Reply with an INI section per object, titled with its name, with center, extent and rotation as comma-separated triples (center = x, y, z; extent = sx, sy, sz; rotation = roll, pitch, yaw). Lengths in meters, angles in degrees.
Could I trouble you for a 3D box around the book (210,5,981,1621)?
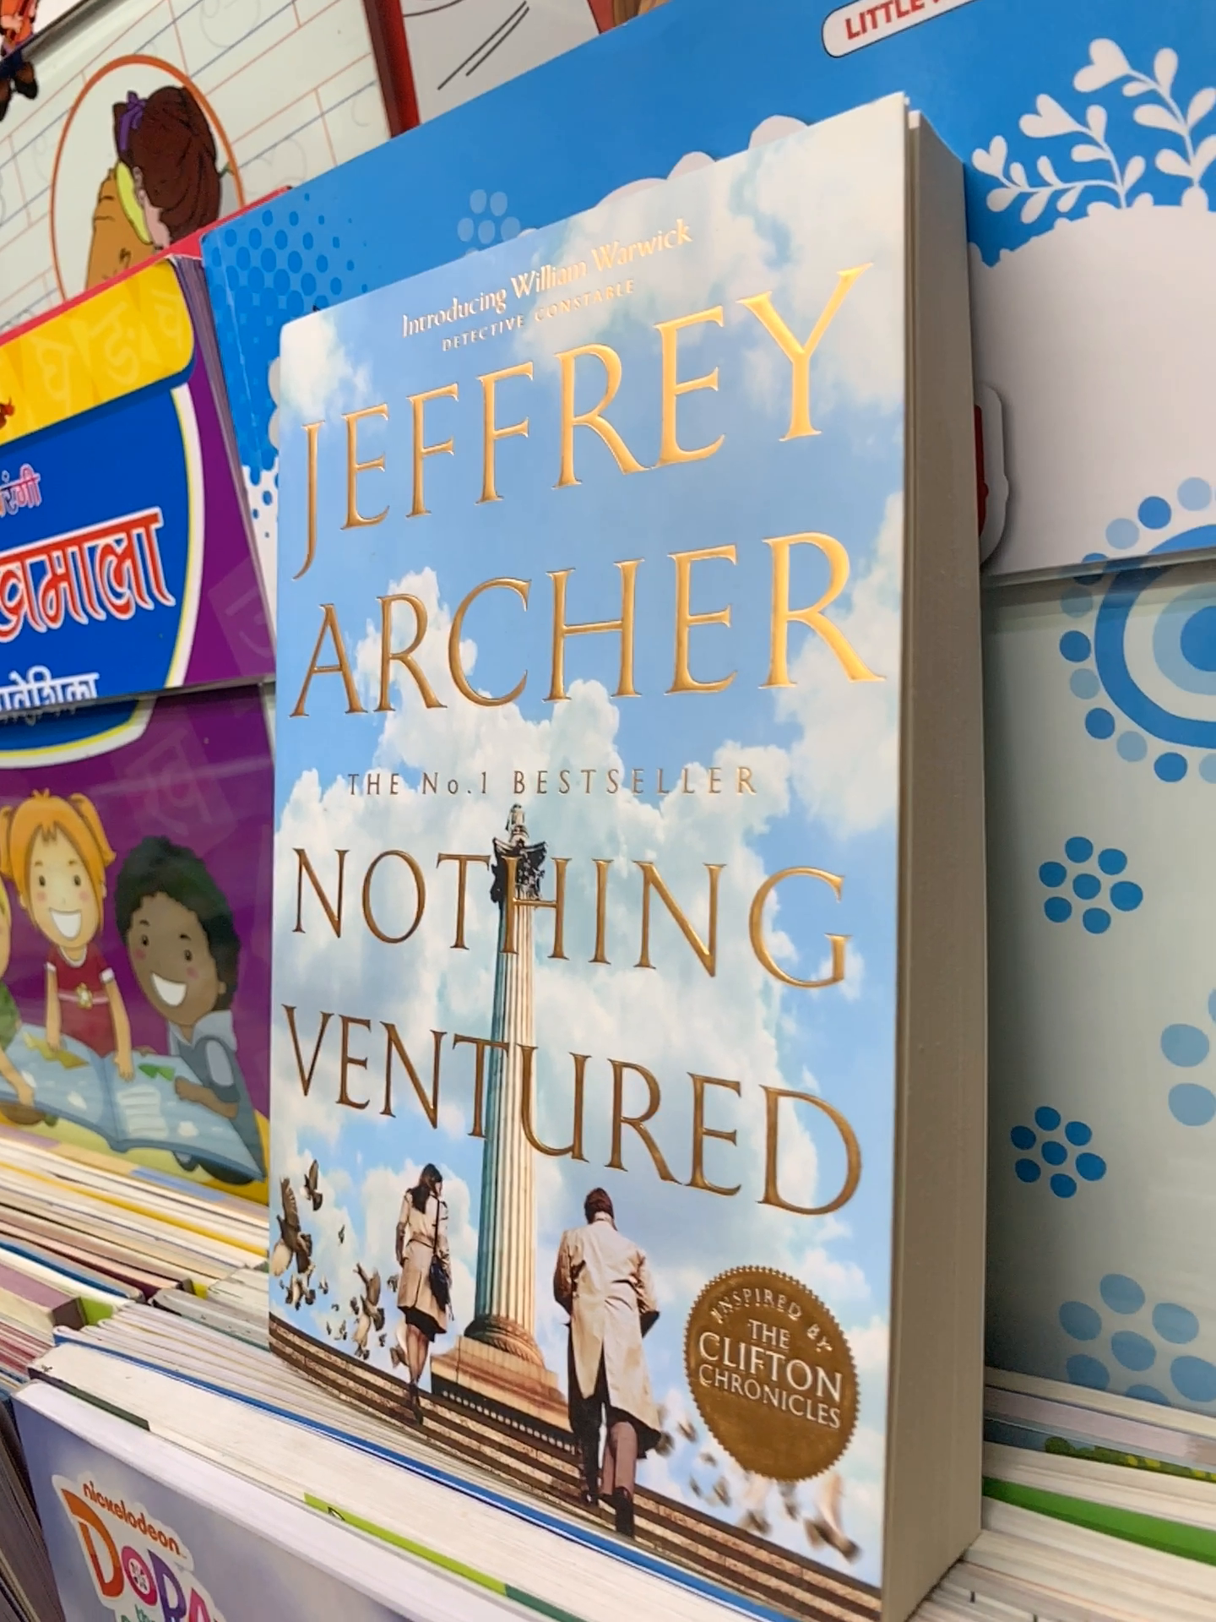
[book]
center = -0.010, 0.002, 0.198
extent = 0.130, 0.190, 0.030
rotation = -1, -3, 41
